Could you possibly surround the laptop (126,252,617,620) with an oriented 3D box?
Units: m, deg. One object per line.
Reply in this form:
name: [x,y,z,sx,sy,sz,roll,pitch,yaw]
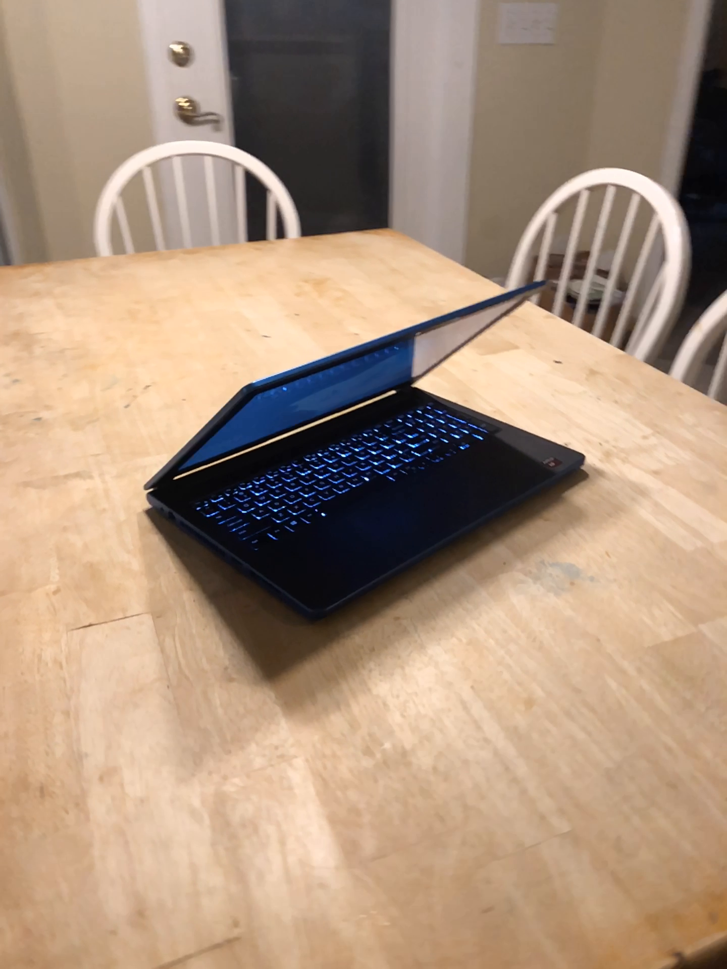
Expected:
laptop: [0.018,-0.078,0.745,0.362,0.159,0.249,-27,40,-37]
